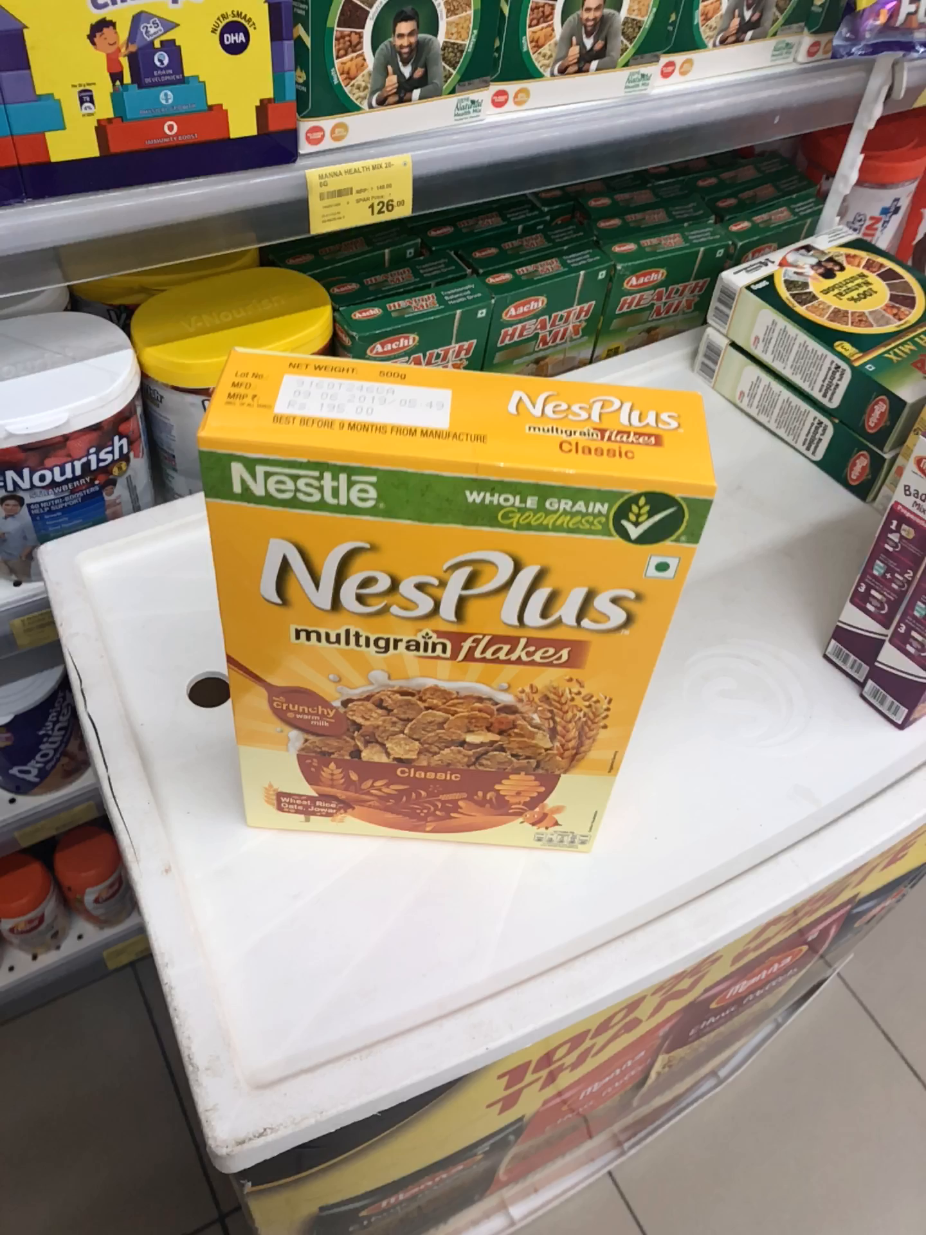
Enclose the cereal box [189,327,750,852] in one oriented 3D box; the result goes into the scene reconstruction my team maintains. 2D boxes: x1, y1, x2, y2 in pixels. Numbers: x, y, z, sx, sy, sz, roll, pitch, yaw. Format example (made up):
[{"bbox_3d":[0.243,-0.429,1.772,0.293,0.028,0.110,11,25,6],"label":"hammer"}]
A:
[{"bbox_3d":[-0.007,0.008,0.488,0.200,0.269,0.070,4,48,-3],"label":"cereal box"}]
